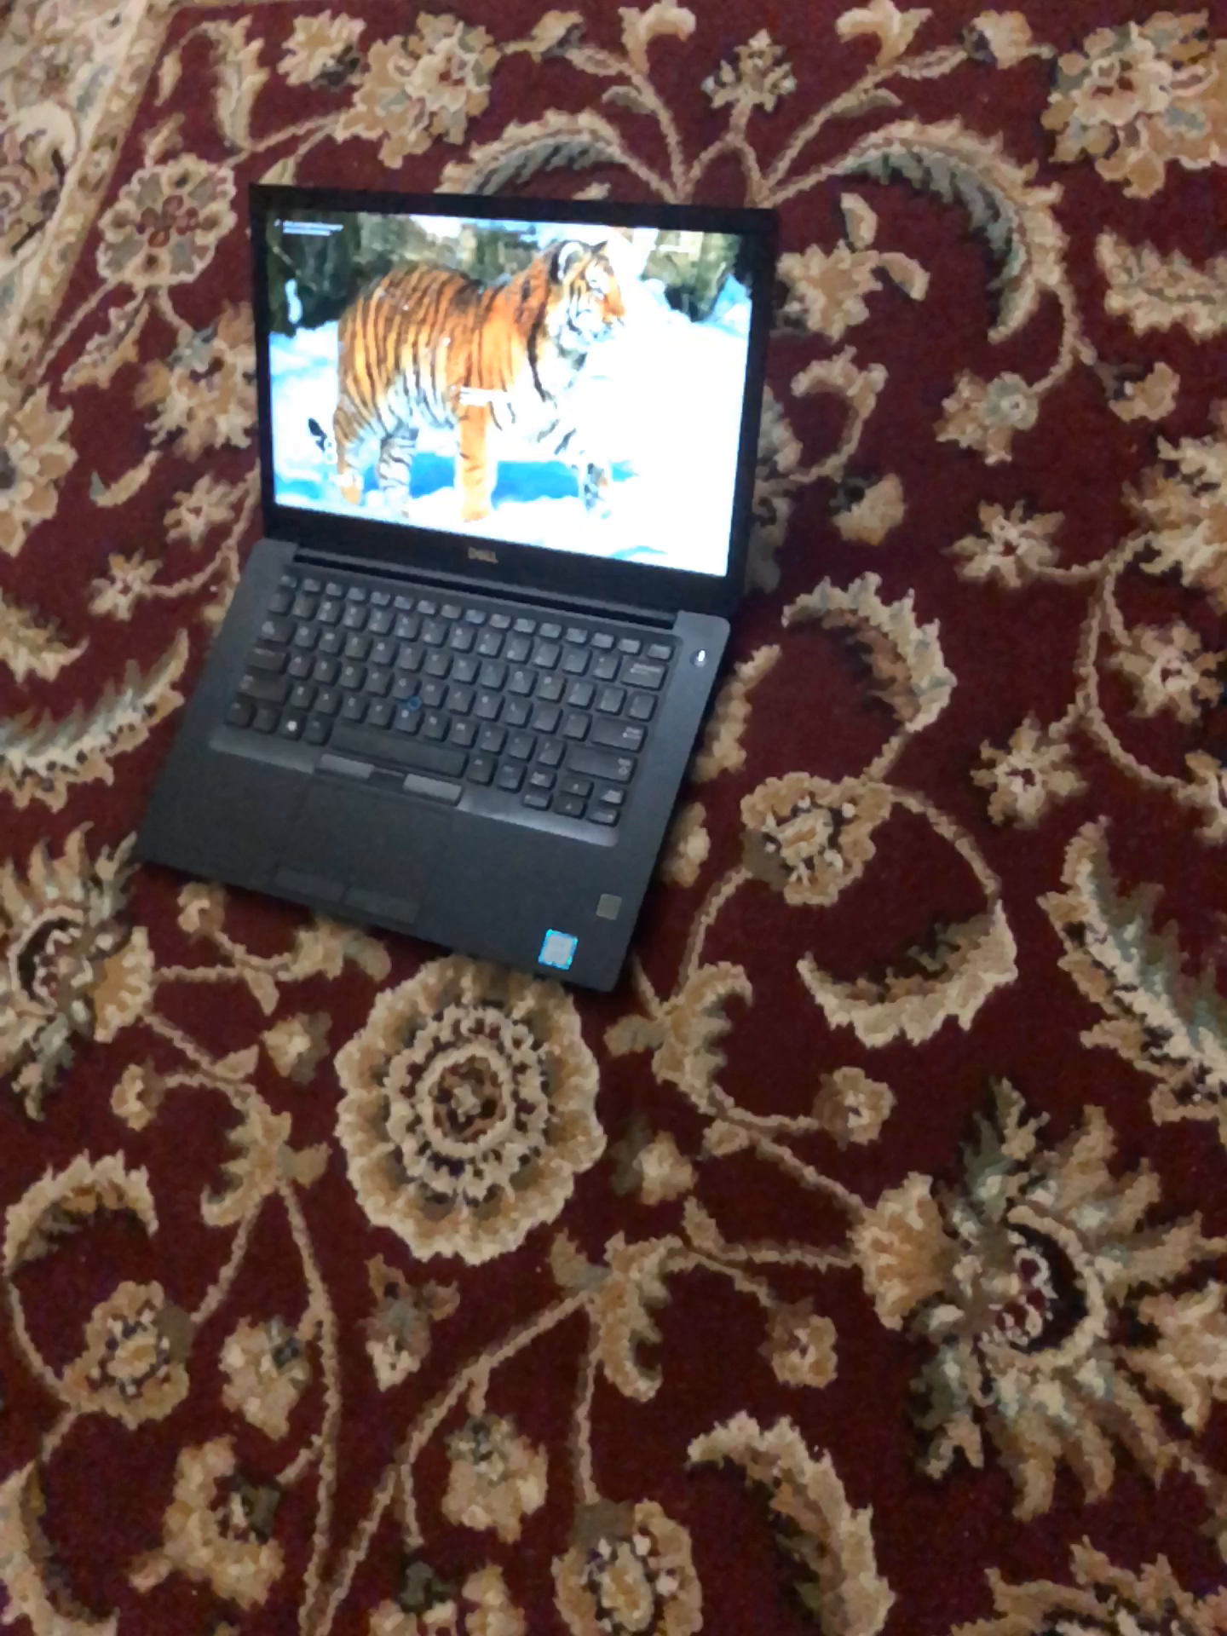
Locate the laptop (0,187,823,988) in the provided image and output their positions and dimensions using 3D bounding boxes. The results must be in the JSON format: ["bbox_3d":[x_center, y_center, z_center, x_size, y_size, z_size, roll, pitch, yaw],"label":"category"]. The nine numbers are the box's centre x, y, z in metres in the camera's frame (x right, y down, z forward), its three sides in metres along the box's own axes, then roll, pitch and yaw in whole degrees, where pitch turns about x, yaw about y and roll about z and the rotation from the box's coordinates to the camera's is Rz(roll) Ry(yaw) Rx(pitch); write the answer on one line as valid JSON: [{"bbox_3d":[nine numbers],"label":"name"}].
[{"bbox_3d":[-0.104,-0.142,0.754,0.329,0.124,0.383,13,77,23],"label":"laptop"}]
